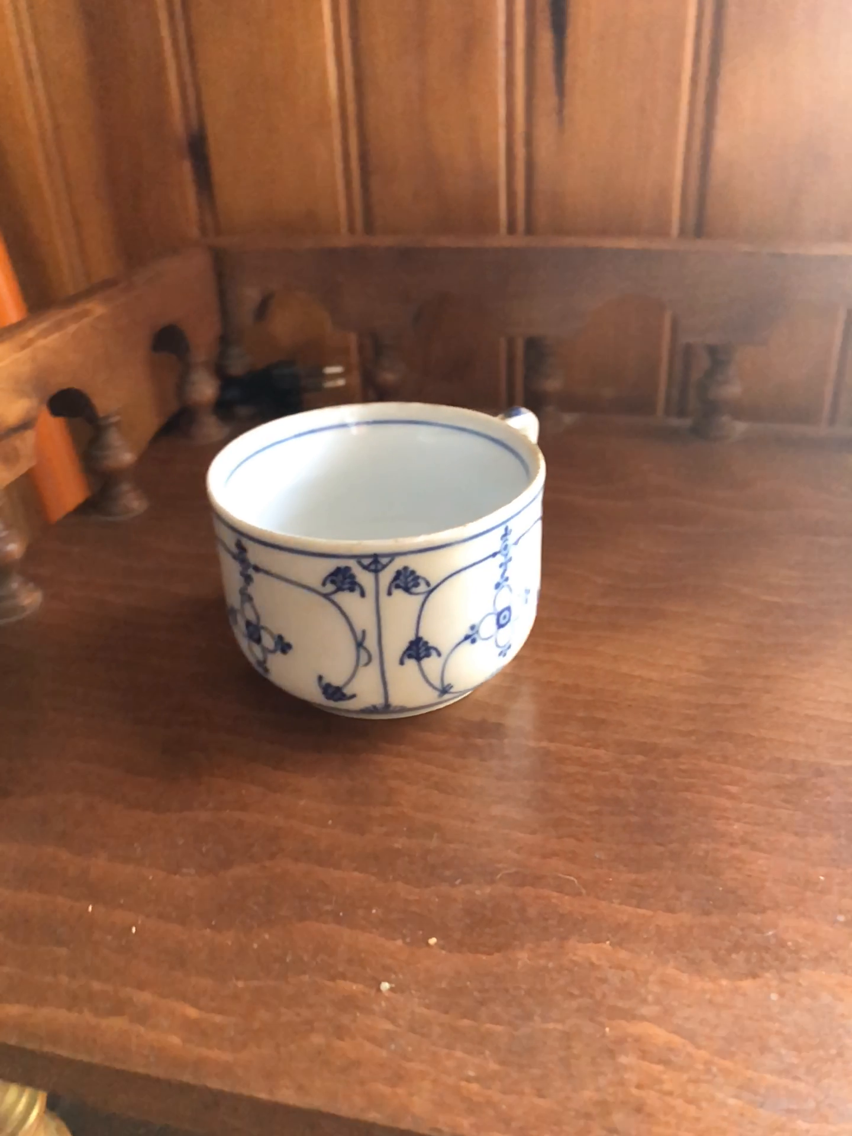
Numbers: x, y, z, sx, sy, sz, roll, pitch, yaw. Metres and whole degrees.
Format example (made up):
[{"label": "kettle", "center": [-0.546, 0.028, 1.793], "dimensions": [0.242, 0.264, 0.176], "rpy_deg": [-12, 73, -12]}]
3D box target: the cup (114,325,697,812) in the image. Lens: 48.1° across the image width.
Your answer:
[{"label": "cup", "center": [0.001, -0.012, 0.243], "dimensions": [0.080, 0.060, 0.121], "rpy_deg": [22, 38, 36]}]
